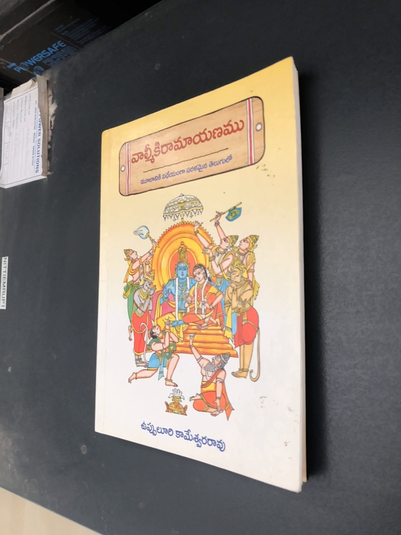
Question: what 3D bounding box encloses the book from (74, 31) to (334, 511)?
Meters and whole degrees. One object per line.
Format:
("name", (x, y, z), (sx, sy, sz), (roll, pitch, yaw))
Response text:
("book", (-0.011, 0.000, 0.288), (0.191, 0.020, 0.240), (-3, 83, 39))
